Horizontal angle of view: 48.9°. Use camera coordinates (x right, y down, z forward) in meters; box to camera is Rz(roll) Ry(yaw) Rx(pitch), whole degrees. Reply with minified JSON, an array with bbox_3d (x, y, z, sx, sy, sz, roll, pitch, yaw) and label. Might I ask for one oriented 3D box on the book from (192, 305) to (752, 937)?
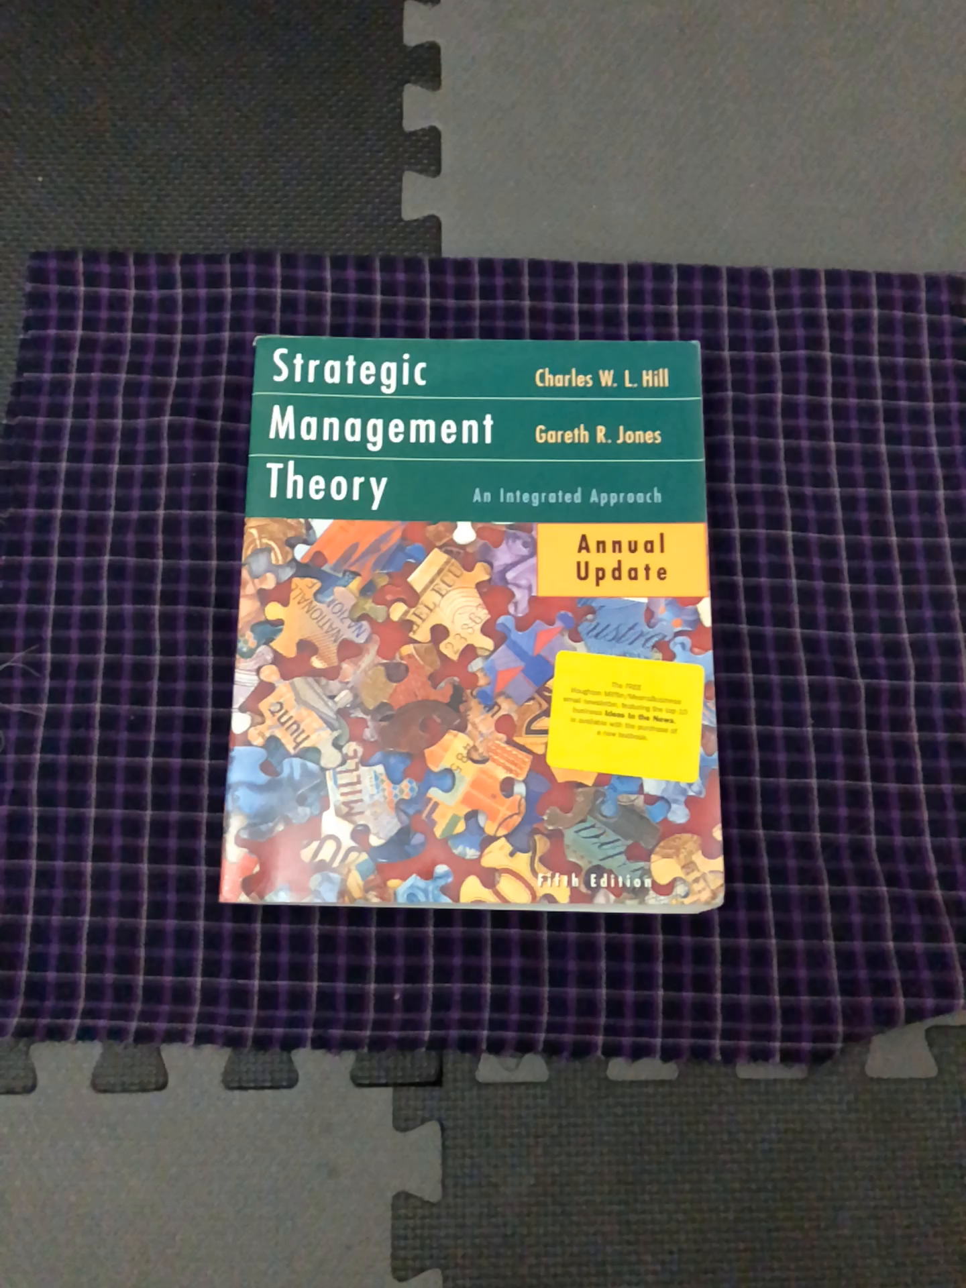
[{"bbox_3d":[-0.001,-0.015,0.486,0.230,0.040,0.280,1,77,1],"label":"book"}]
